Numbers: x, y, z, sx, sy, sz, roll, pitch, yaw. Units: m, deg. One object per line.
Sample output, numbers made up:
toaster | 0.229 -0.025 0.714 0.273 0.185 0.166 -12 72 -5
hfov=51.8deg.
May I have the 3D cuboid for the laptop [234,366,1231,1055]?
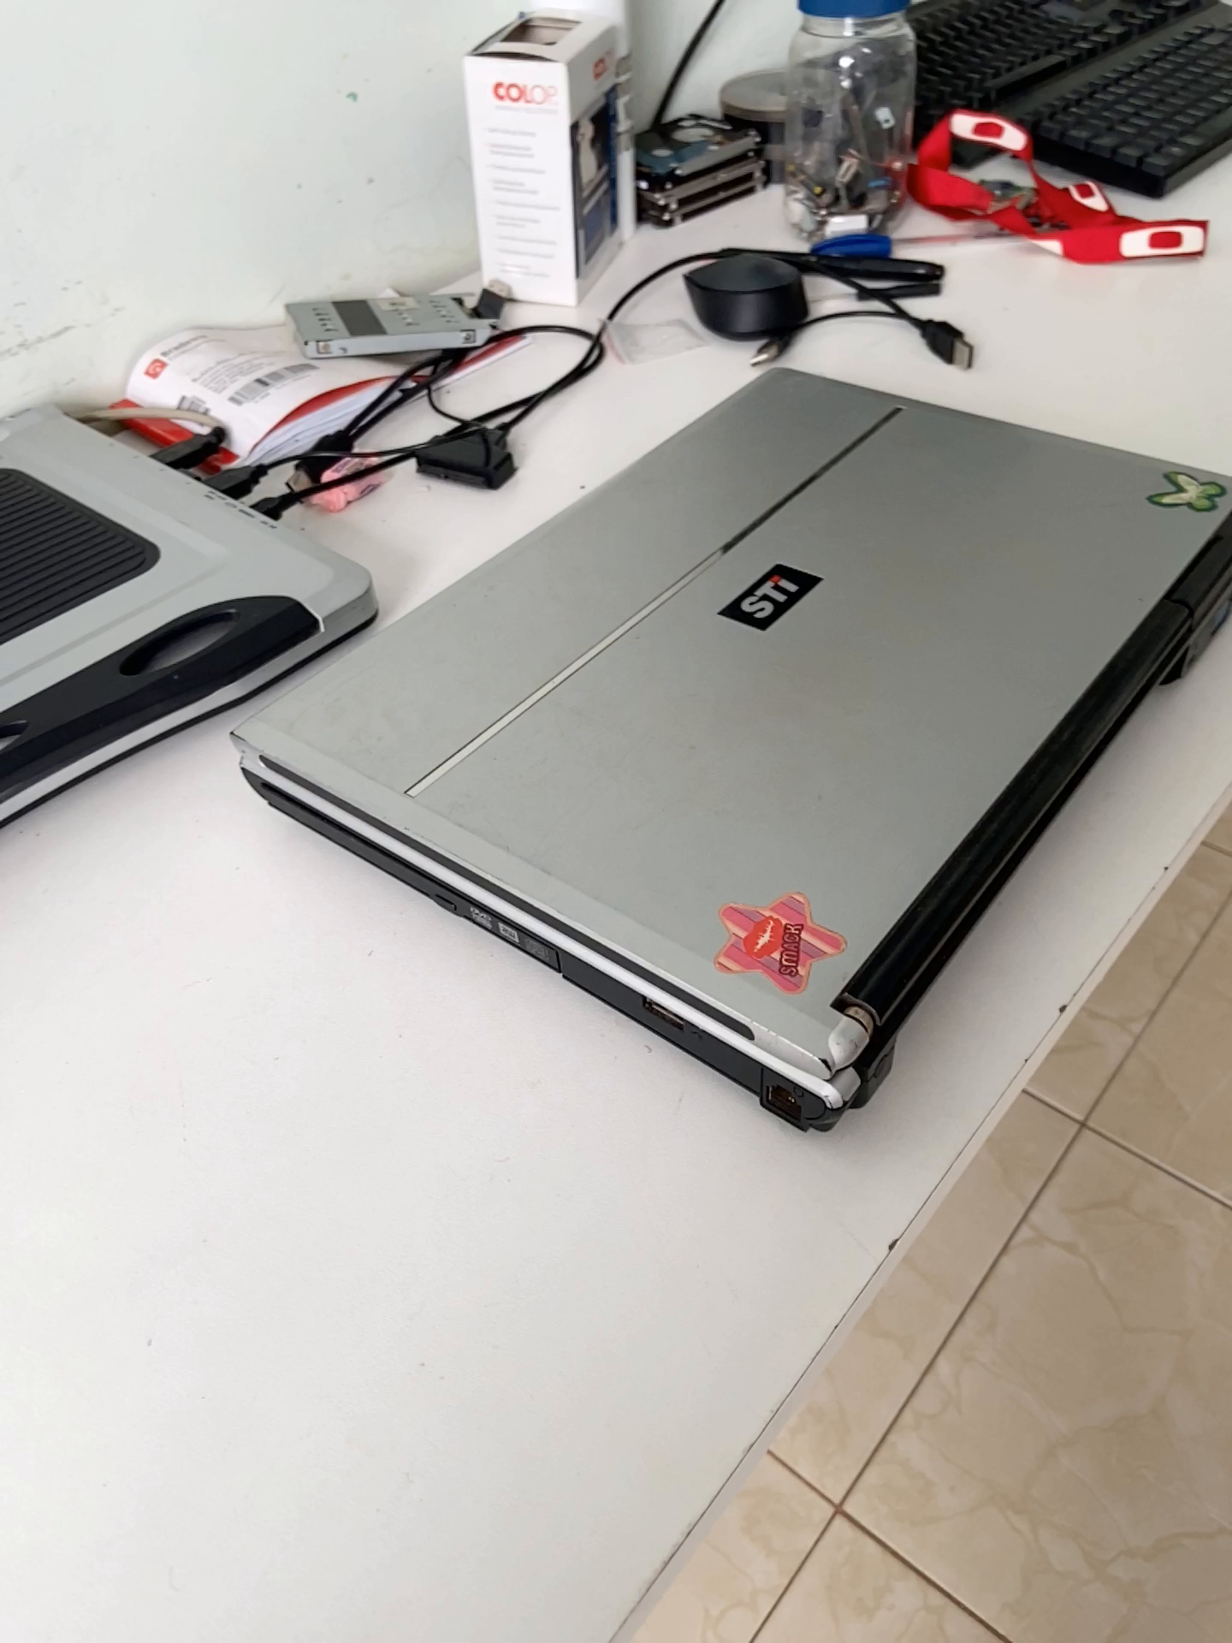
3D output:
laptop | 0.067 -0.081 0.474 0.234 0.004 0.340 26 51 29
